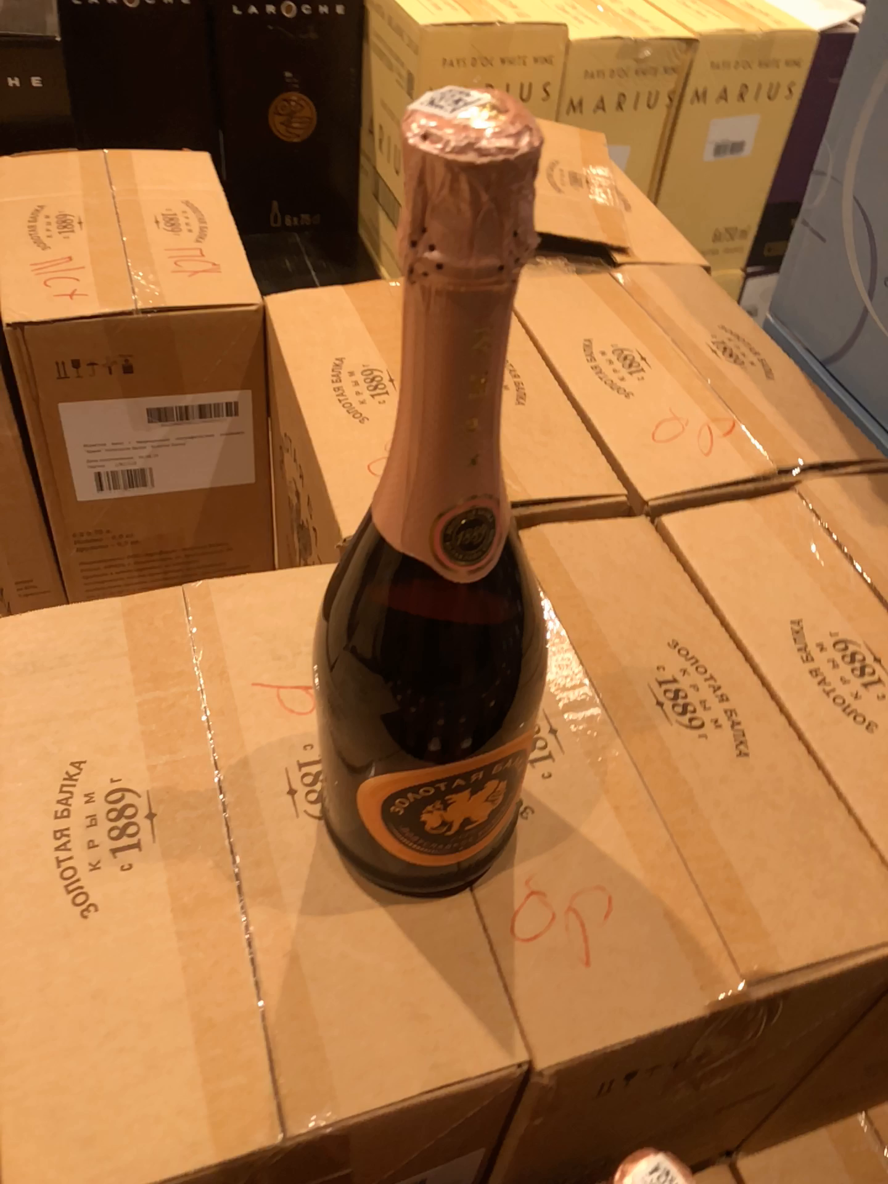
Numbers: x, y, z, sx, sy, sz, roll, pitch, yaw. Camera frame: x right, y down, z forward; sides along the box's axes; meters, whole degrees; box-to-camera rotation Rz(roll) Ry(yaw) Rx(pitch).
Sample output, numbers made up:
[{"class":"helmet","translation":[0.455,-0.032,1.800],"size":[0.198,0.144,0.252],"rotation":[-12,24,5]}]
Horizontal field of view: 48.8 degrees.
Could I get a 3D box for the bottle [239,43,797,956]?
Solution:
[{"class":"bottle","translation":[0.002,-0.001,0.333],"size":[0.100,0.308,0.090],"rotation":[-13,48,-18]}]
